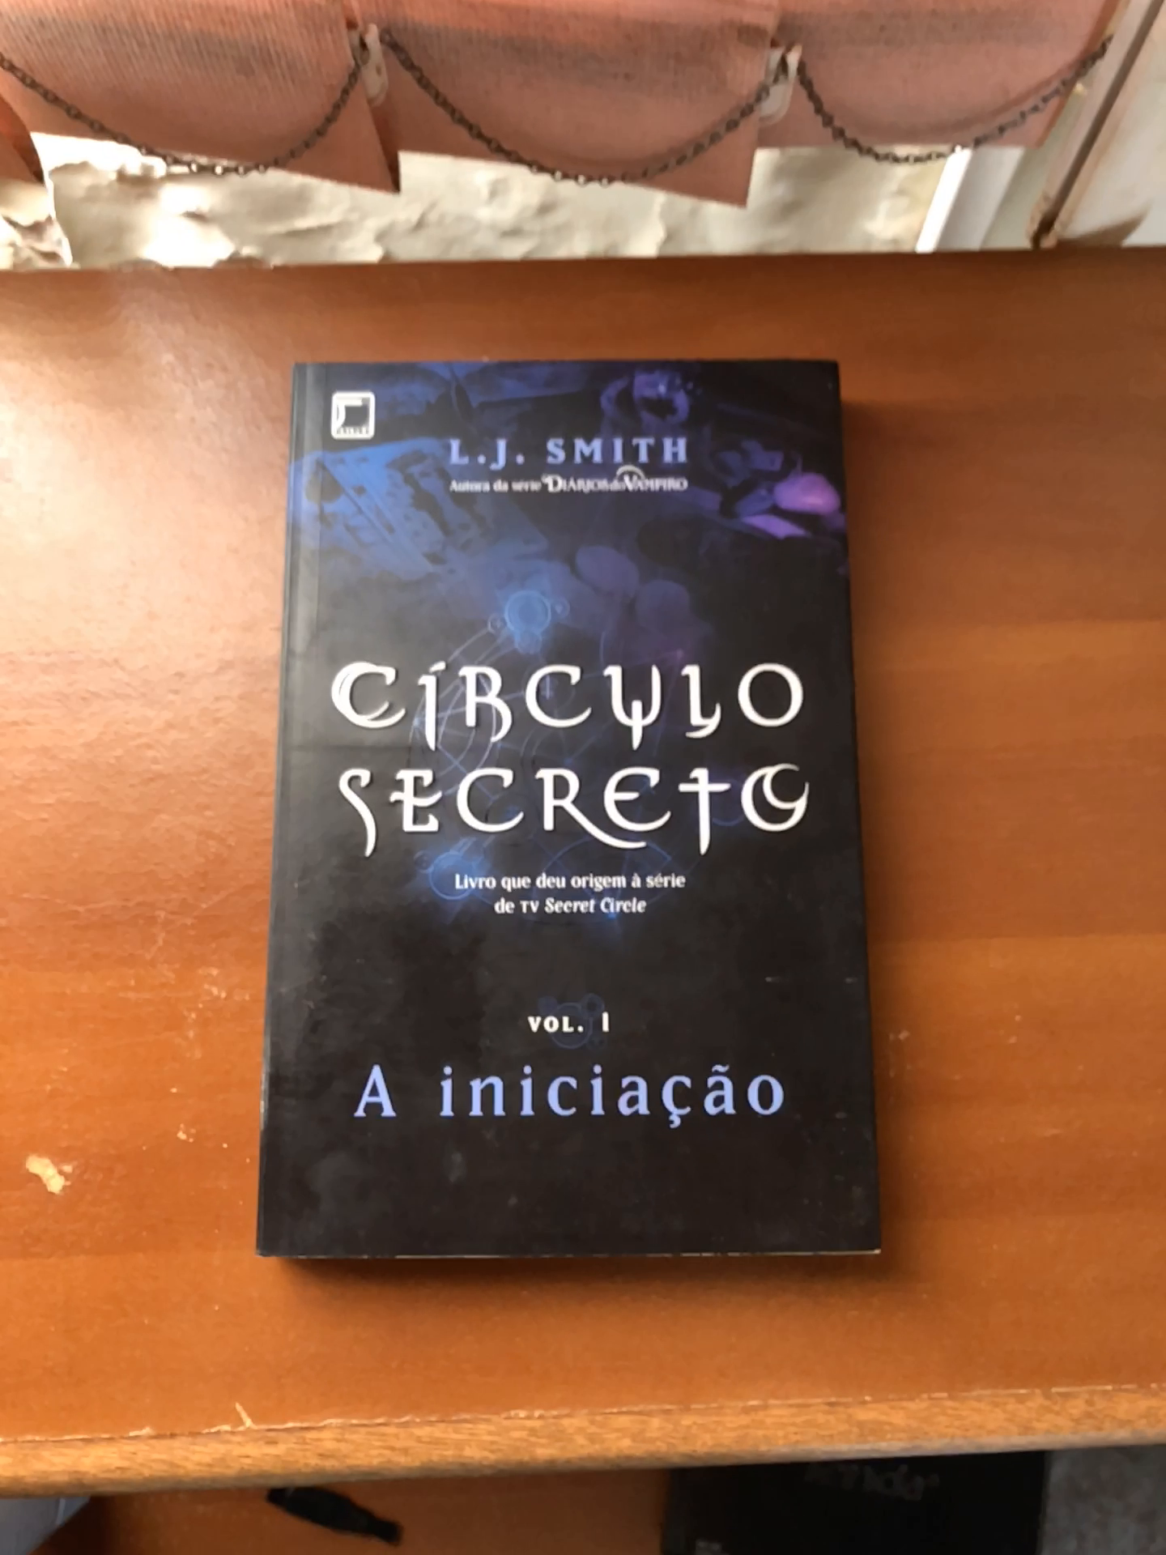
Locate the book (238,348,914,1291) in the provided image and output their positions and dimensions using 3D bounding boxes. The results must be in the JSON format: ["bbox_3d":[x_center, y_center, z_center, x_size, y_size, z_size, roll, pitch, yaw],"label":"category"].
[{"bbox_3d":[-0.003,0.003,0.303,0.140,0.024,0.214,-1,78,-1],"label":"book"}]
